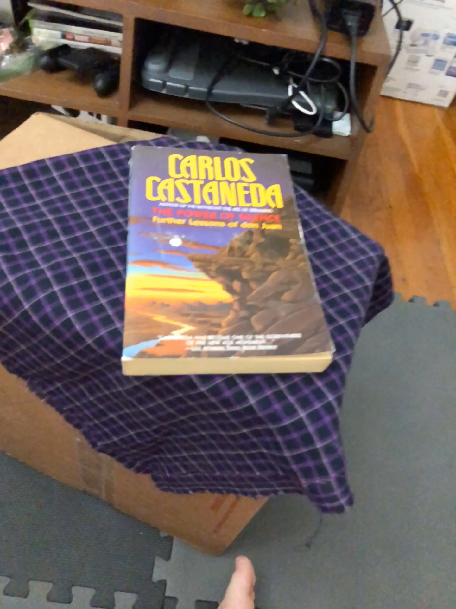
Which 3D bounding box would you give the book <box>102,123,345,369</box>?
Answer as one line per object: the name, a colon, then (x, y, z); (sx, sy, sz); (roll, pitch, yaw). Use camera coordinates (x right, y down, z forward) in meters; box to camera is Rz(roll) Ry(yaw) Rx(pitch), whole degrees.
book: (-0.009, -0.055, 0.378); (0.150, 0.020, 0.221); (2, 54, -9)
